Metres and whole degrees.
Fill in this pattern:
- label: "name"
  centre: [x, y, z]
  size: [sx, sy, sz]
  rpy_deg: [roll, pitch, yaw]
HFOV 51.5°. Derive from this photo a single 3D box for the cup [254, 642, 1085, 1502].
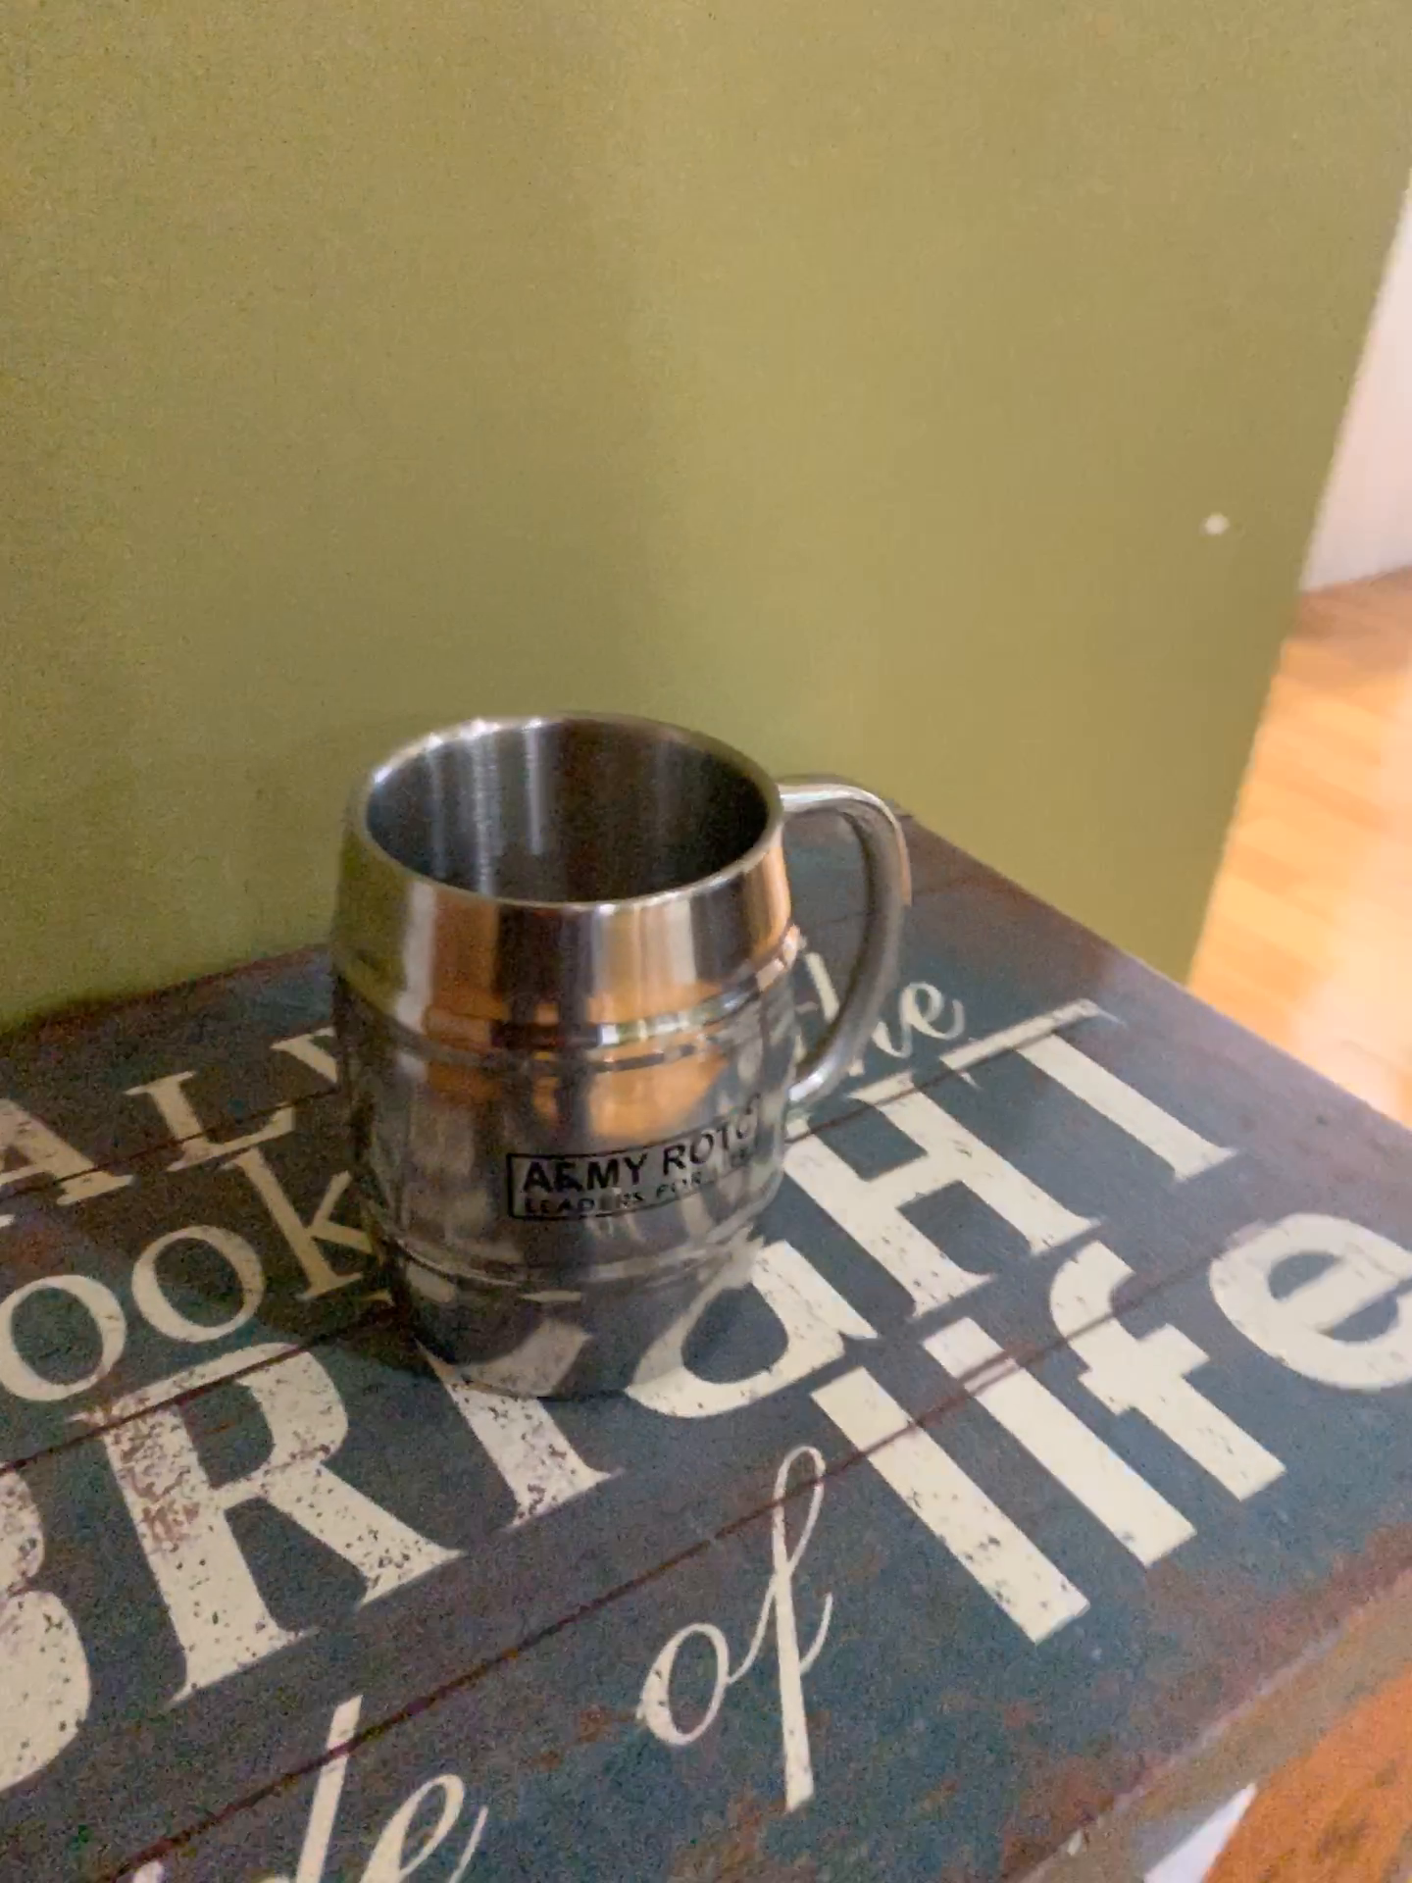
- label: "cup"
  centre: [-0.009, 0.017, 0.305]
  size: [0.129, 0.113, 0.089]
  rpy_deg: [-19, 38, -30]
